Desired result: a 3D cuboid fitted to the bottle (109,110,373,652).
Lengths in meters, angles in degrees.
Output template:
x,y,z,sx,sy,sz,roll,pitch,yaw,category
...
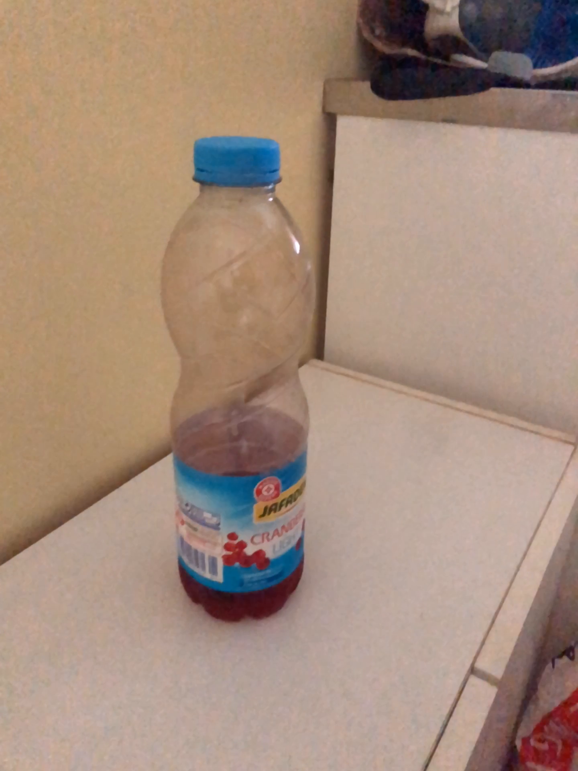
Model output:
x,y,z,sx,sy,sz,roll,pitch,yaw,category
-0.022,0.000,0.347,0.080,0.268,0.091,19,31,31,bottle
